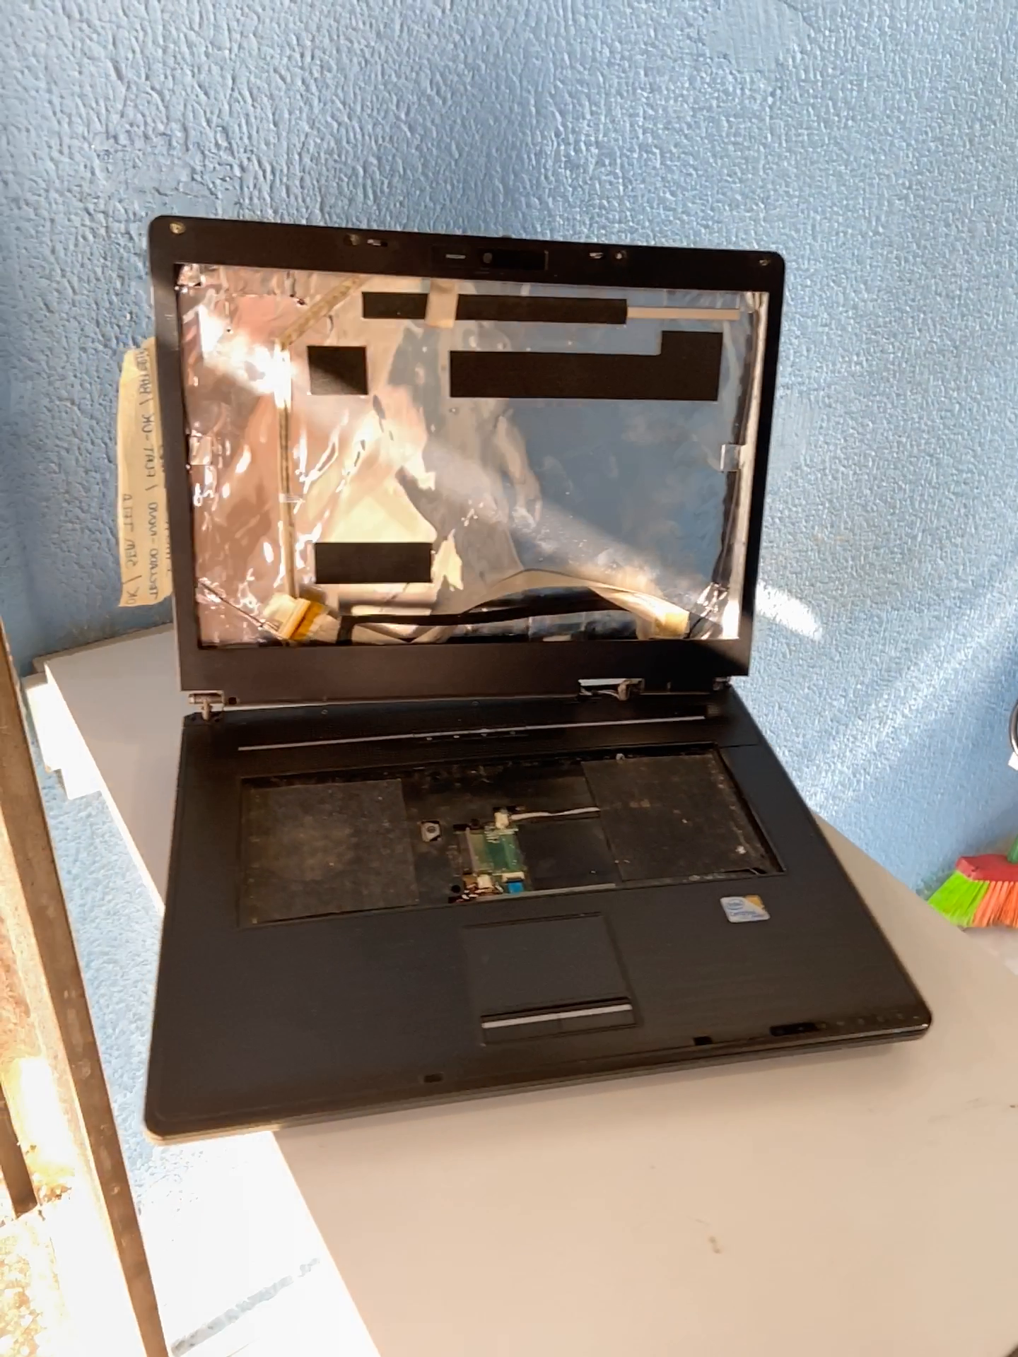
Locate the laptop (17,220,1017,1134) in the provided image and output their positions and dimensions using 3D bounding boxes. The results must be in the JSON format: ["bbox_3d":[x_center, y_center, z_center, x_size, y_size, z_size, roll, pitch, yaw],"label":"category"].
[{"bbox_3d":[0.007,-0.040,0.519,0.352,0.261,0.352,-3,35,-10],"label":"laptop"}]
